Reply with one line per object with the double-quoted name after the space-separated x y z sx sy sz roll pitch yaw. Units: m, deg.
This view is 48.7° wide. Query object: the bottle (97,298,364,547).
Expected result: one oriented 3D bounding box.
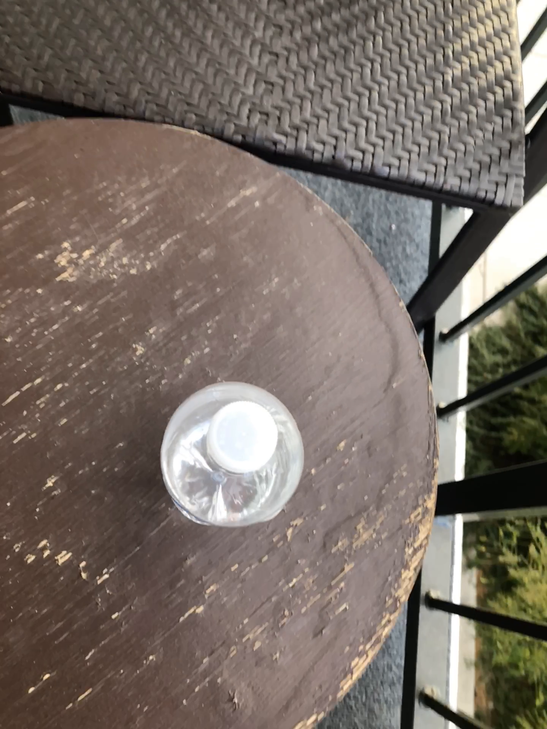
-0.029 0.044 0.304 0.080 0.190 0.074 2 73 -8 "bottle"
